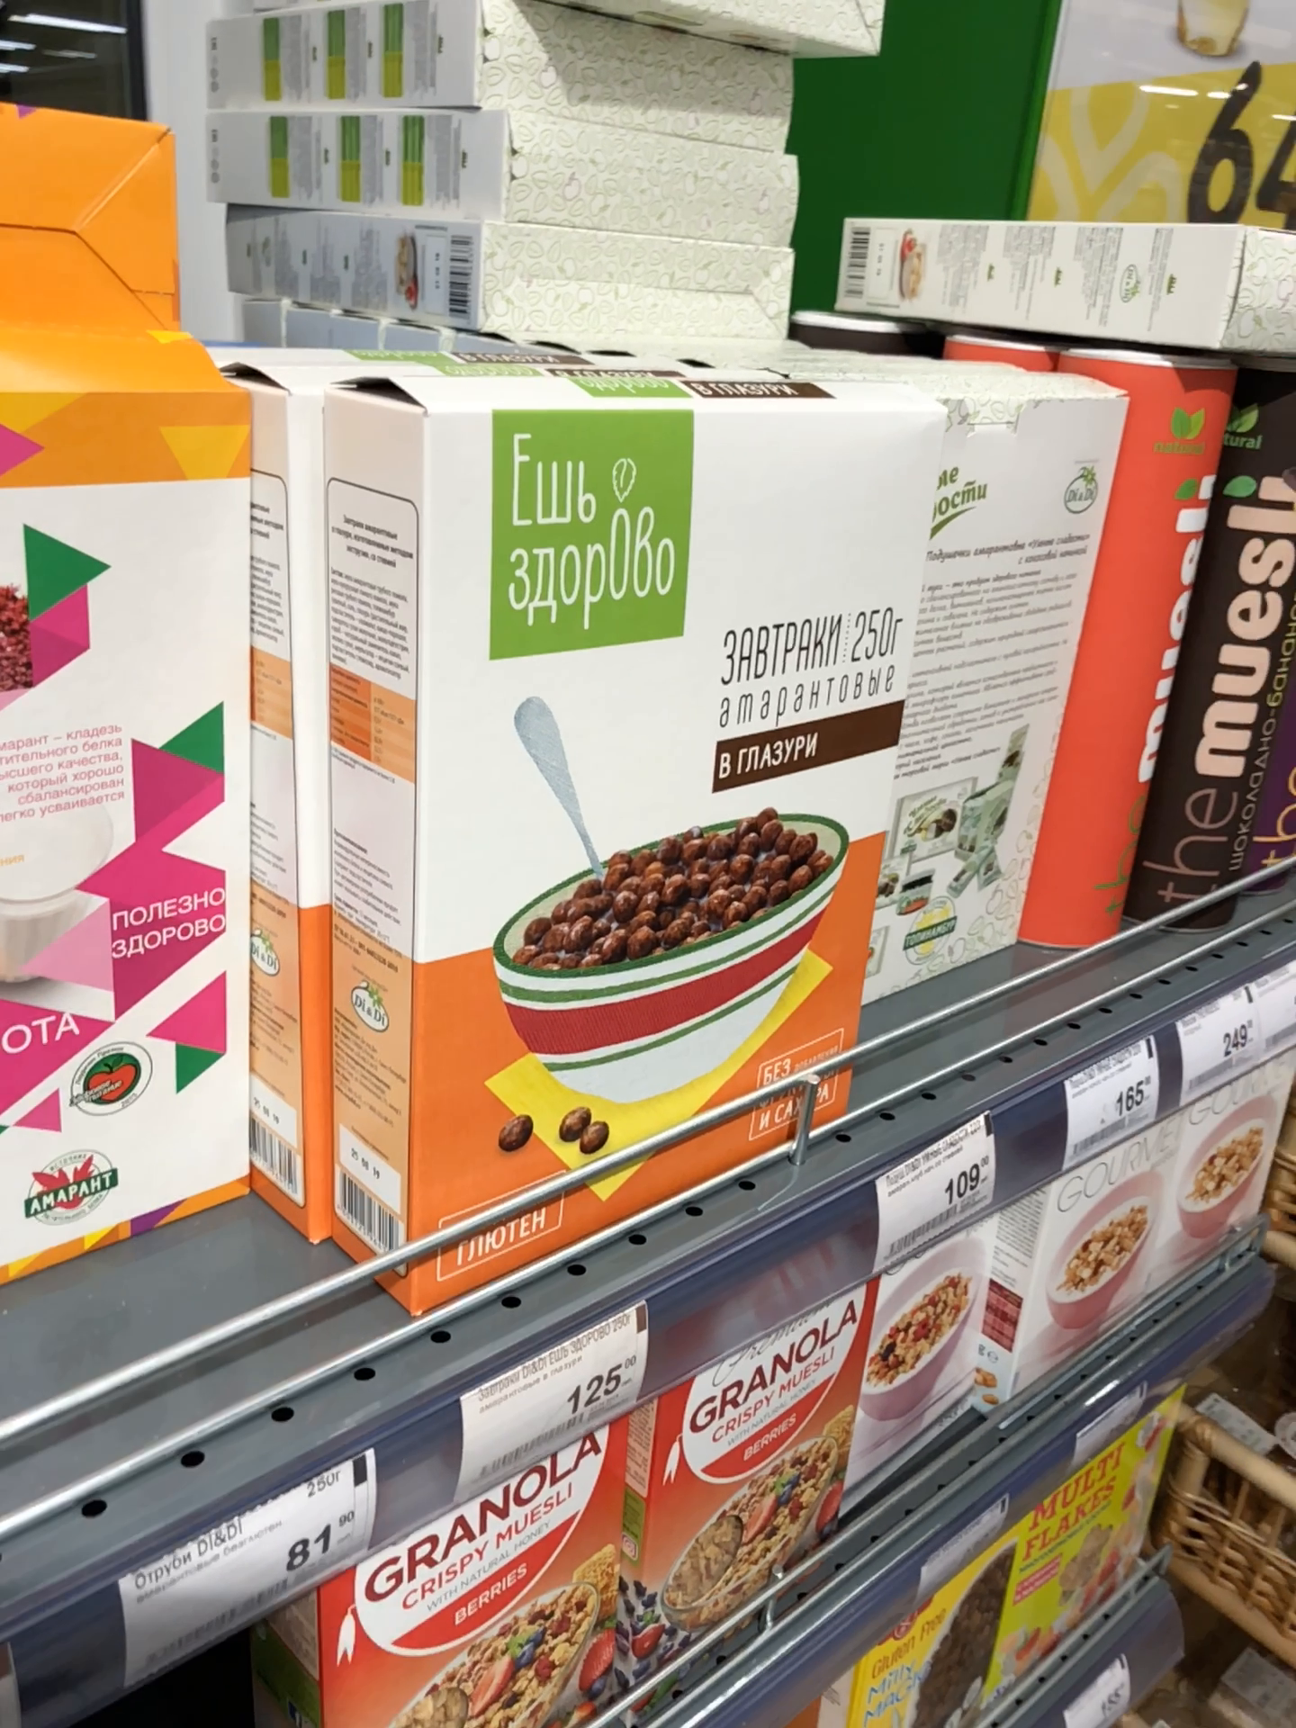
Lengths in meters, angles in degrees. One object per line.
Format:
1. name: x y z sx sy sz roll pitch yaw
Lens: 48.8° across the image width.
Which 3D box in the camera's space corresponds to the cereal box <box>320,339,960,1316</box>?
1. cereal box: -0.002 -0.019 0.437 0.190 0.259 0.050 -16 29 -40
